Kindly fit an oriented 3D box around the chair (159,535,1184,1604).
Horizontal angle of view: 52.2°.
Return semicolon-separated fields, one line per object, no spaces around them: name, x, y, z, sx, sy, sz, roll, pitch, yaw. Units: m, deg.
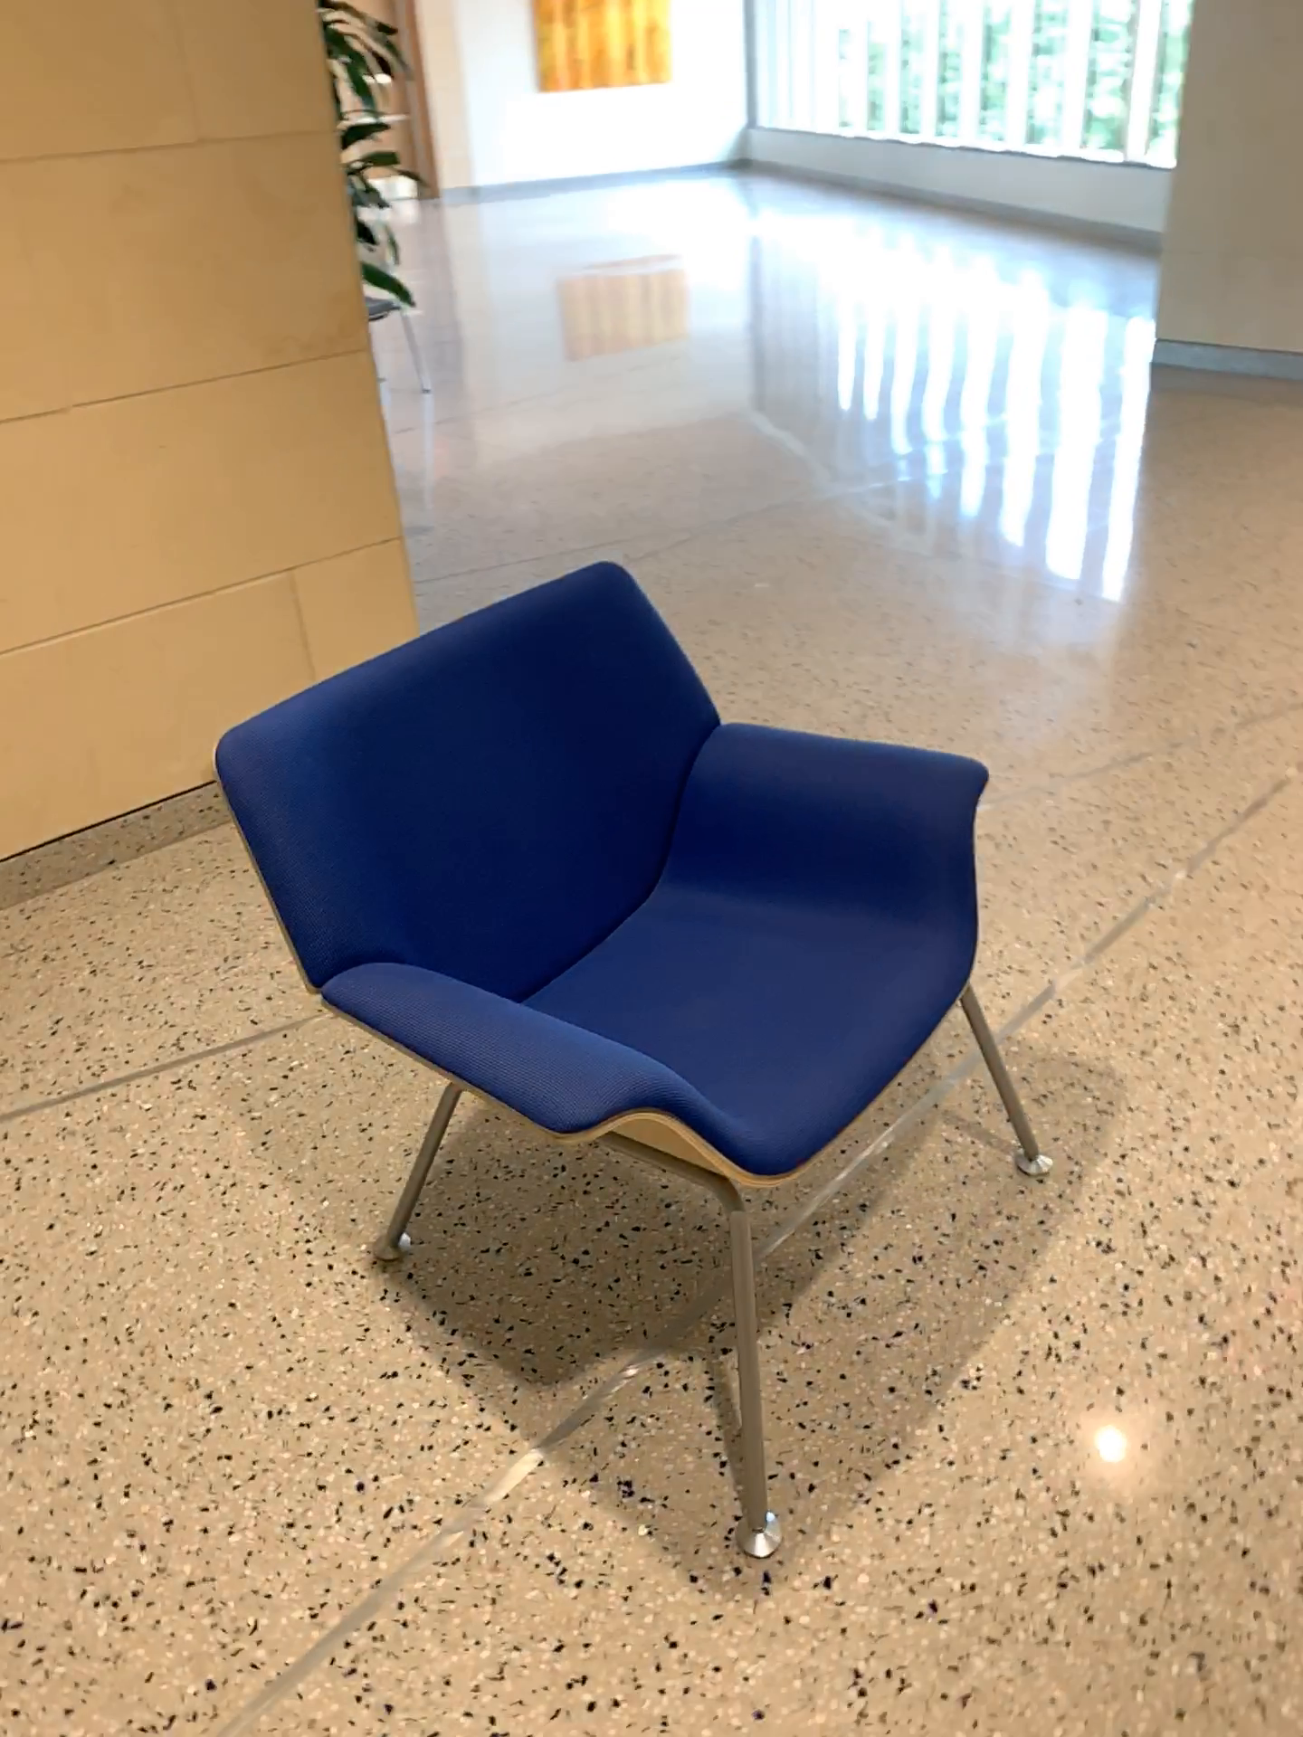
chair;0.064;0.123;1.575;0.759;0.728;0.782;19;38;34
